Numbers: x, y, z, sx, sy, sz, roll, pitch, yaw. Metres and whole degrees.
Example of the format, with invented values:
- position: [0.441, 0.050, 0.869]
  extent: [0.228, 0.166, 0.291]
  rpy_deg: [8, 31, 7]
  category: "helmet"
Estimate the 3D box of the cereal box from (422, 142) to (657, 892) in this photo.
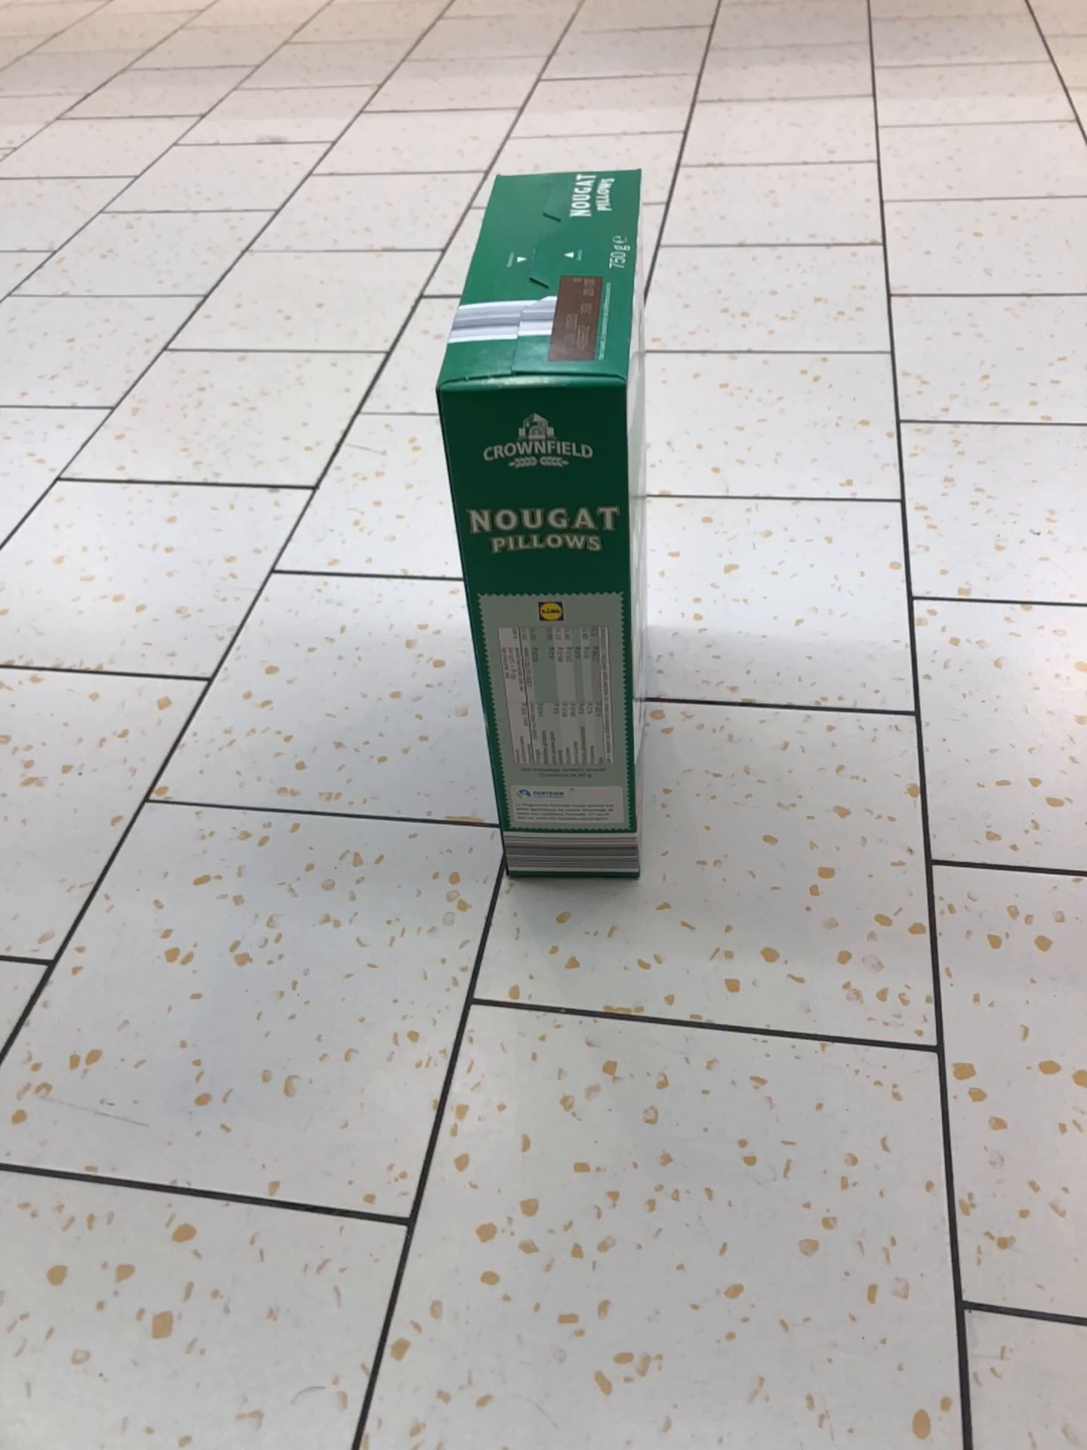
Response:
- position: [0.013, -0.088, 0.546]
  extent: [0.070, 0.268, 0.201]
  rpy_deg: [-1, 43, 6]
  category: "cereal box"
